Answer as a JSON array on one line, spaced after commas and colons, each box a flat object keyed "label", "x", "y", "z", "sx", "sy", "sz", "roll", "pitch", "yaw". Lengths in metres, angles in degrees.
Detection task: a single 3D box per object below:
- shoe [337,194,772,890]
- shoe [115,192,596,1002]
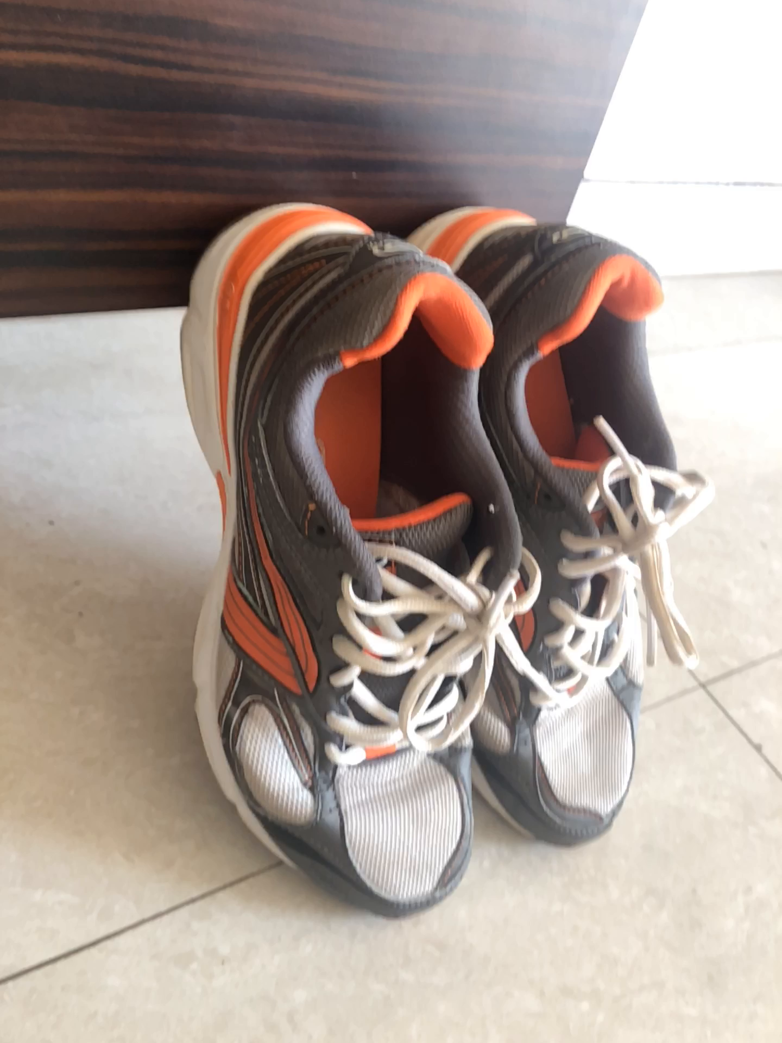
[{"label": "shoe", "x": 0.065, "y": -0.001, "z": 0.379, "sx": 0.120, "sy": 0.259, "sz": 0.110, "roll": -16, "pitch": 25, "yaw": -29}, {"label": "shoe", "x": -0.010, "y": 0.021, "z": 0.335, "sx": 0.120, "sy": 0.269, "sz": 0.100, "roll": -19, "pitch": 29, "yaw": -36}]
